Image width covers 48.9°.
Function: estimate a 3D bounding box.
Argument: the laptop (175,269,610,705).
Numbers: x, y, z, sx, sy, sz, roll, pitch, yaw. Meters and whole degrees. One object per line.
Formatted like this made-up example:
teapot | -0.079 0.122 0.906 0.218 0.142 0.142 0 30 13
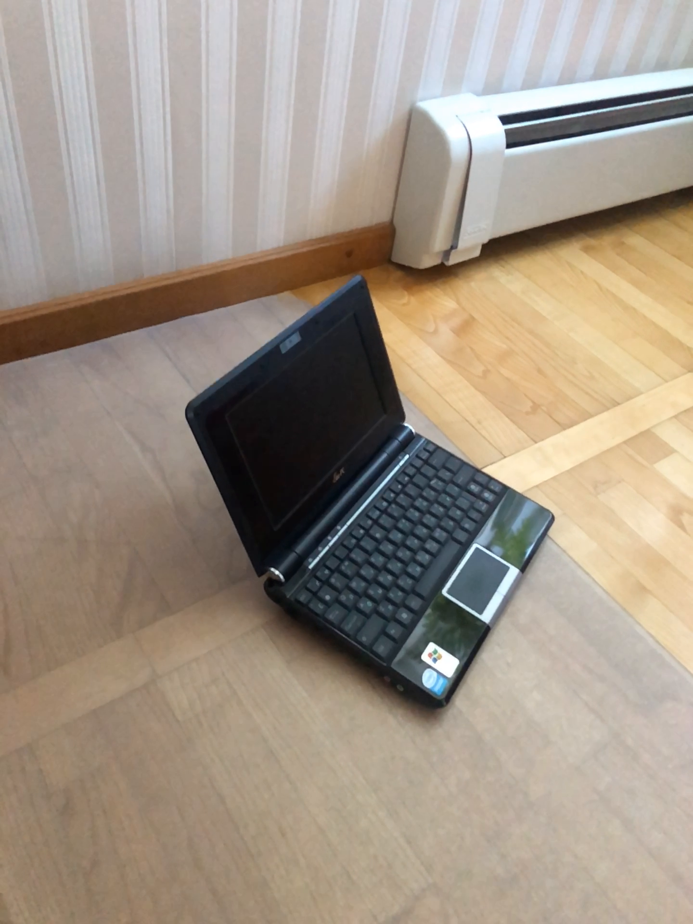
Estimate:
laptop | 0.043 0.003 0.692 0.276 0.159 0.266 30 47 15
